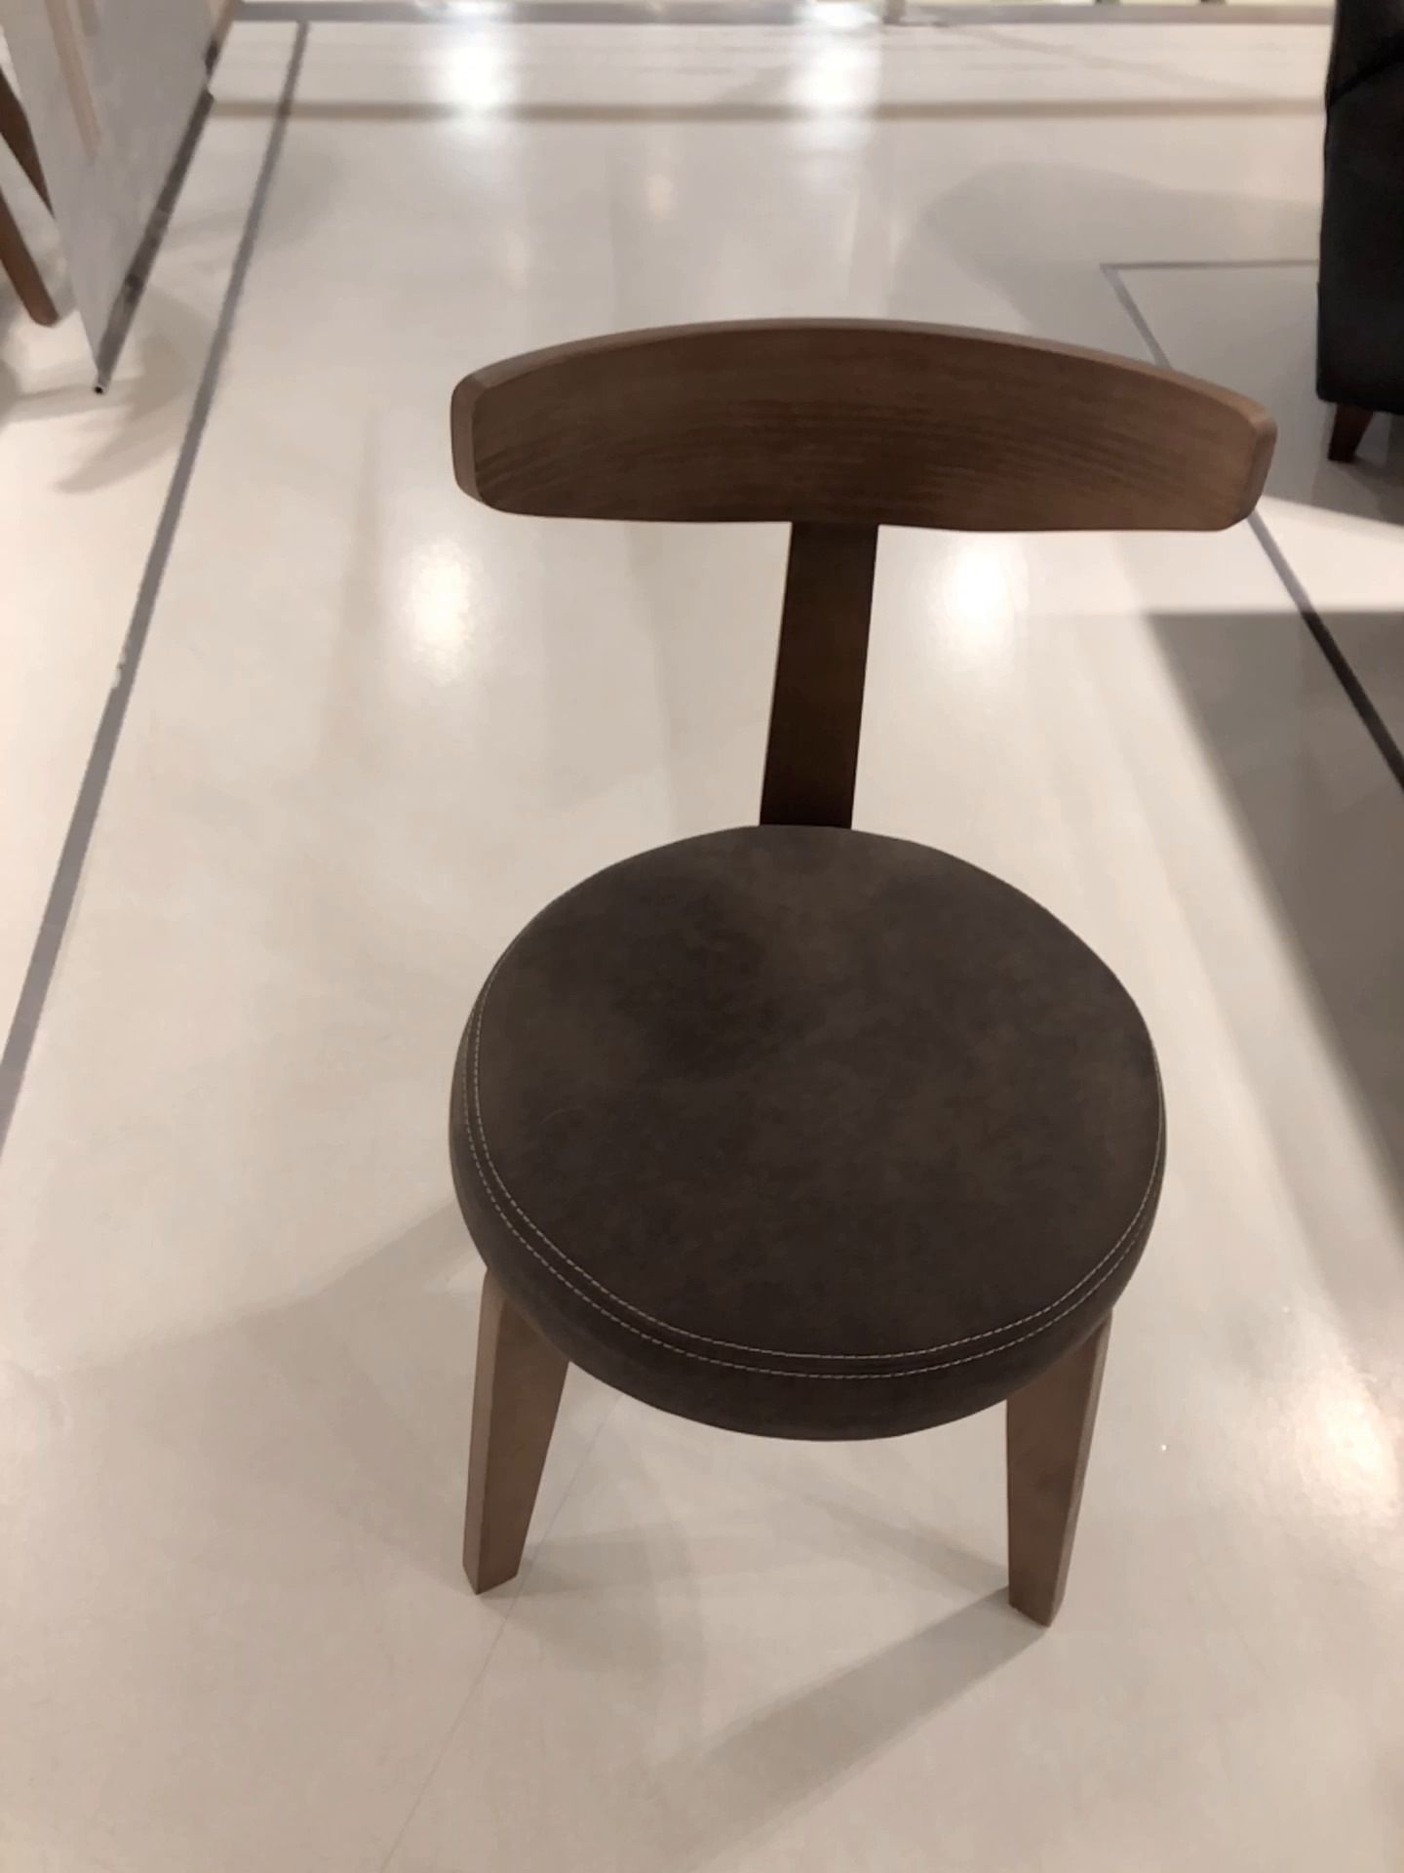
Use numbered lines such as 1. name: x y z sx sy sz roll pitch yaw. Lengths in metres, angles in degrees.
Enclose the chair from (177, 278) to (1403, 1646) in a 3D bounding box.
1. chair: 0.053 0.052 0.964 0.470 0.705 0.493 2 46 1
